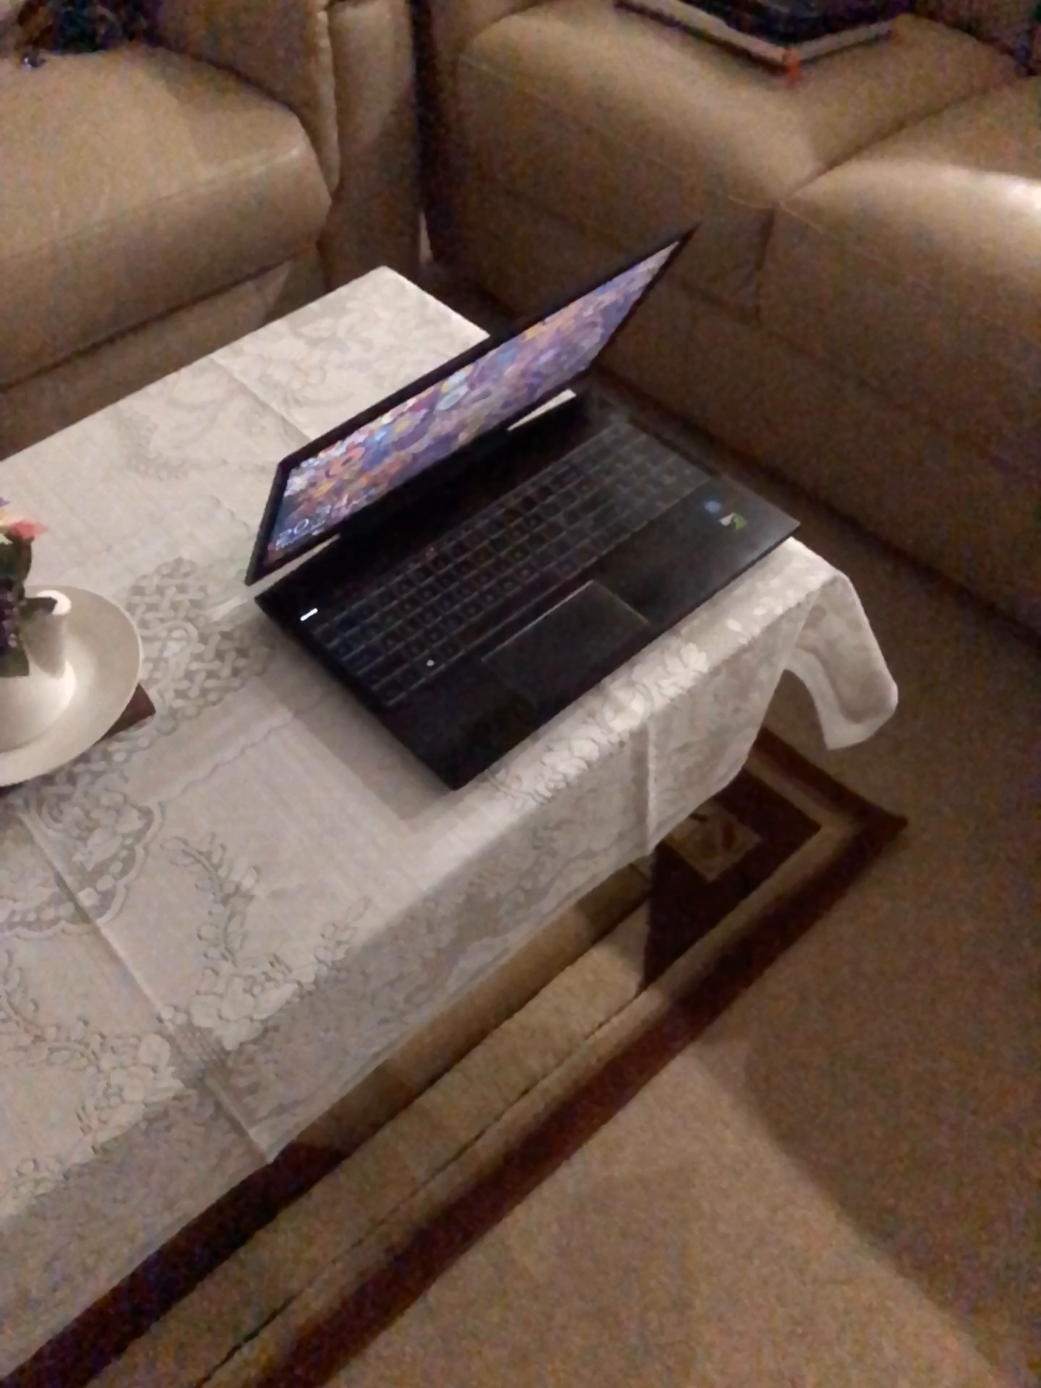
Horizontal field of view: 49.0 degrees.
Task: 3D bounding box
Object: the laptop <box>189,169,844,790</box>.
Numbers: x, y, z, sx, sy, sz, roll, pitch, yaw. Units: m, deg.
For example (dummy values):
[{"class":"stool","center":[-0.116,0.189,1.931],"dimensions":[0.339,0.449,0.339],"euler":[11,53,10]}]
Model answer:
[{"class":"laptop","center":[0.005,-0.166,0.814],"dimensions":[0.356,0.199,0.243],"euler":[-37,59,-23]}]
